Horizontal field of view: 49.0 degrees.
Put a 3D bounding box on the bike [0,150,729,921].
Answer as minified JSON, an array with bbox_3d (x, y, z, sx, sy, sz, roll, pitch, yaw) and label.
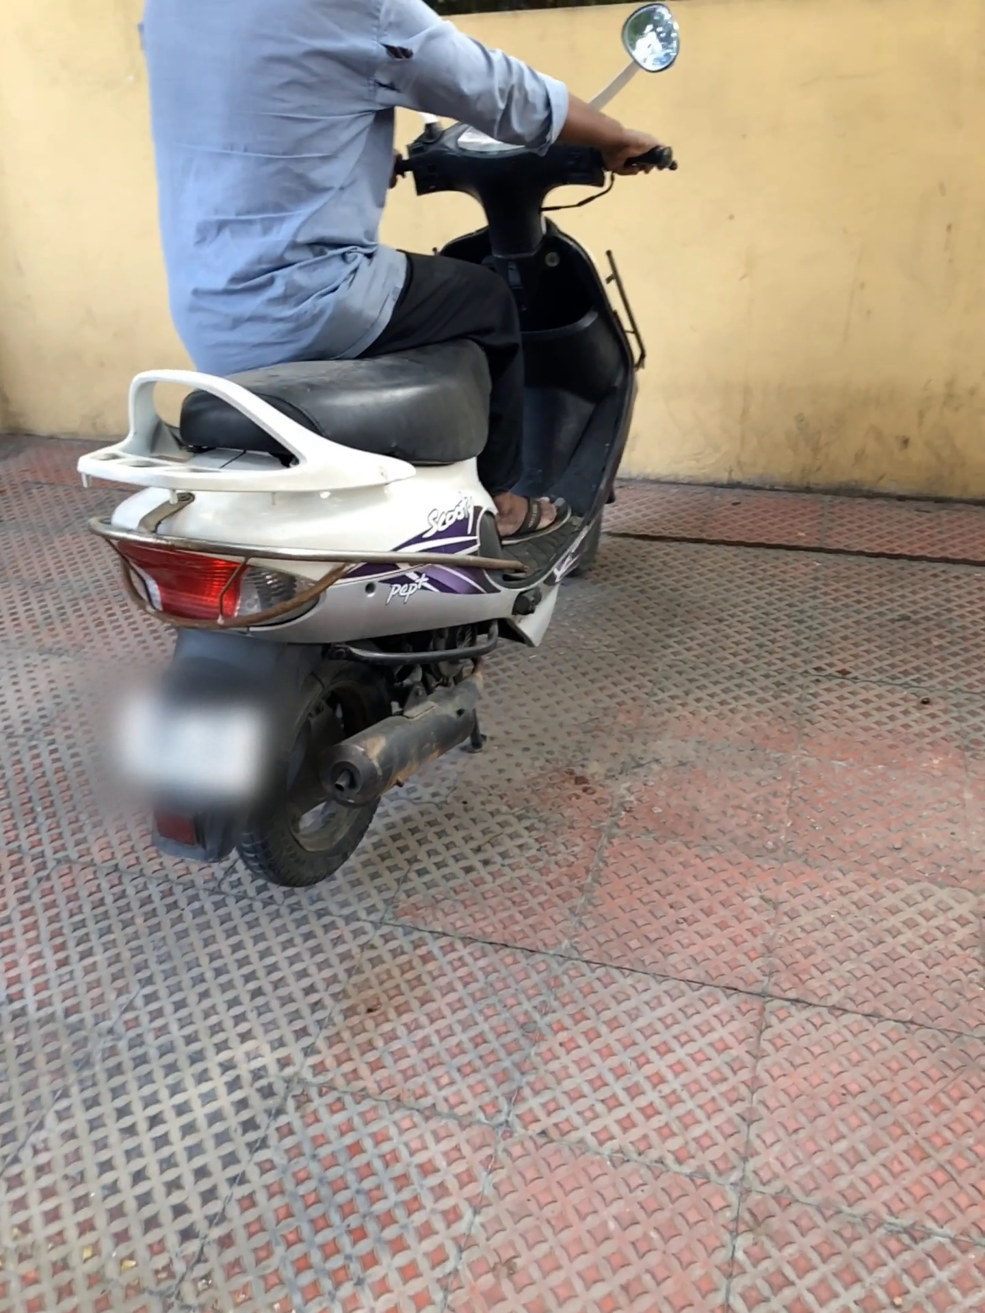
[{"bbox_3d":[-0.052,-0.418,2.016,0.598,0.816,1.620,10,32,21],"label":"bike"}]
